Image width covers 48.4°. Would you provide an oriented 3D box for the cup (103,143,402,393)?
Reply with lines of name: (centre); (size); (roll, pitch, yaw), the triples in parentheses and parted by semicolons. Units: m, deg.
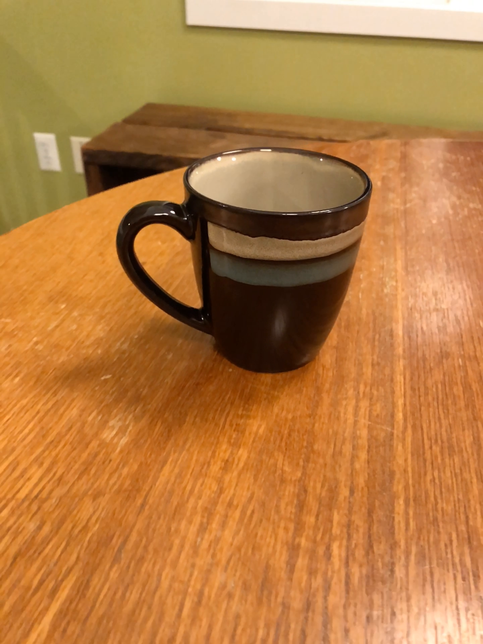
cup: (0.001, -0.034, 0.290); (0.125, 0.093, 0.099); (-2, 35, -5)
